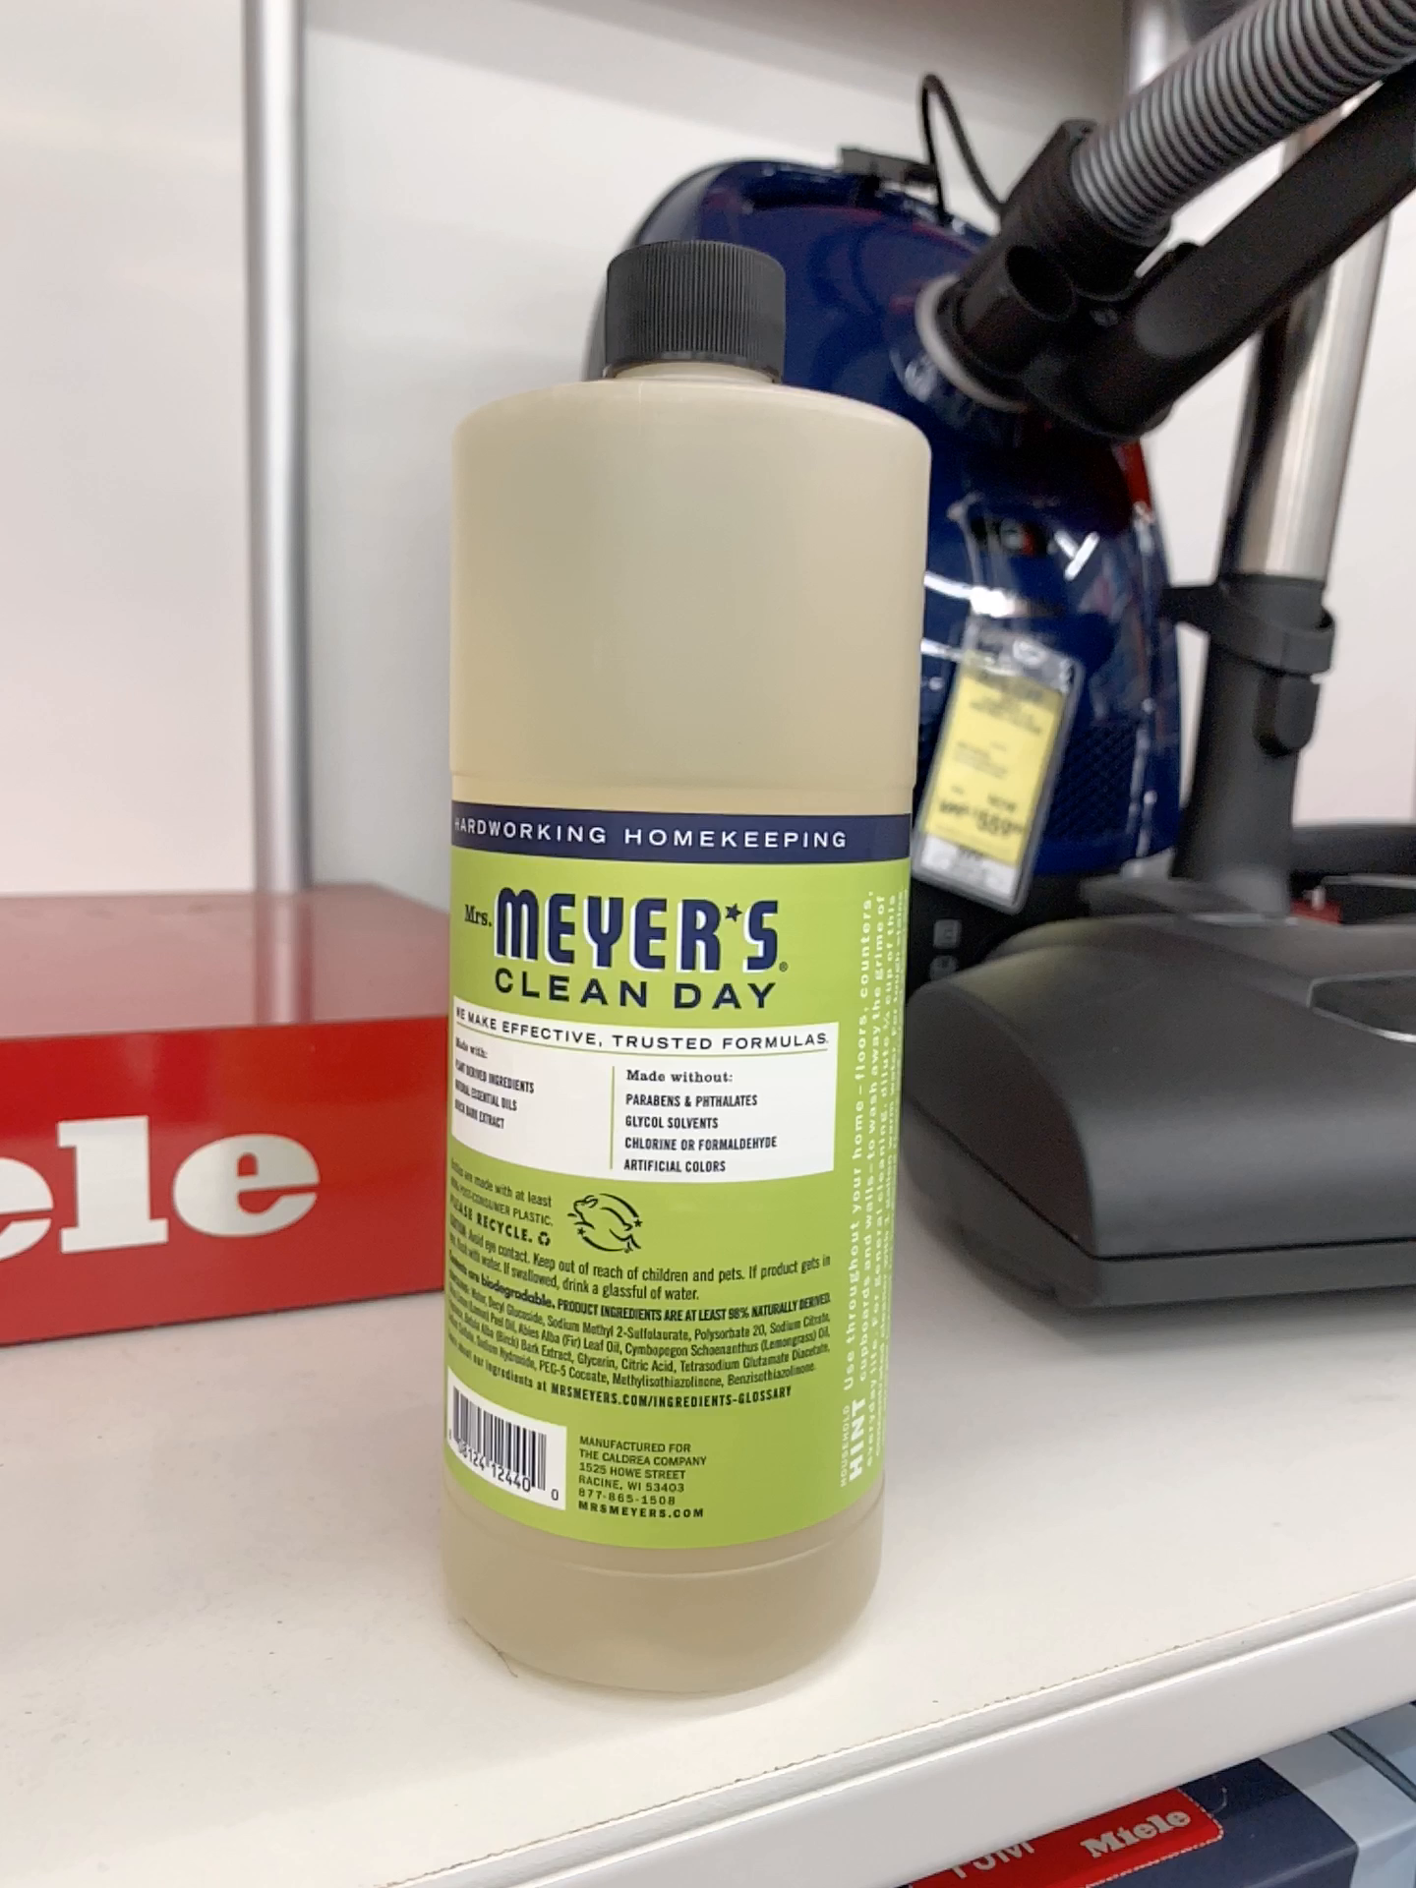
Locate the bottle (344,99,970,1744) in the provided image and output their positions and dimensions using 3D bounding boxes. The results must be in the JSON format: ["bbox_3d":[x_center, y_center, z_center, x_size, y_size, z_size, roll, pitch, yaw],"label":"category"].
[{"bbox_3d":[-0.004,-0.003,0.266,0.090,0.240,0.090,1,7,0],"label":"bottle"}]
